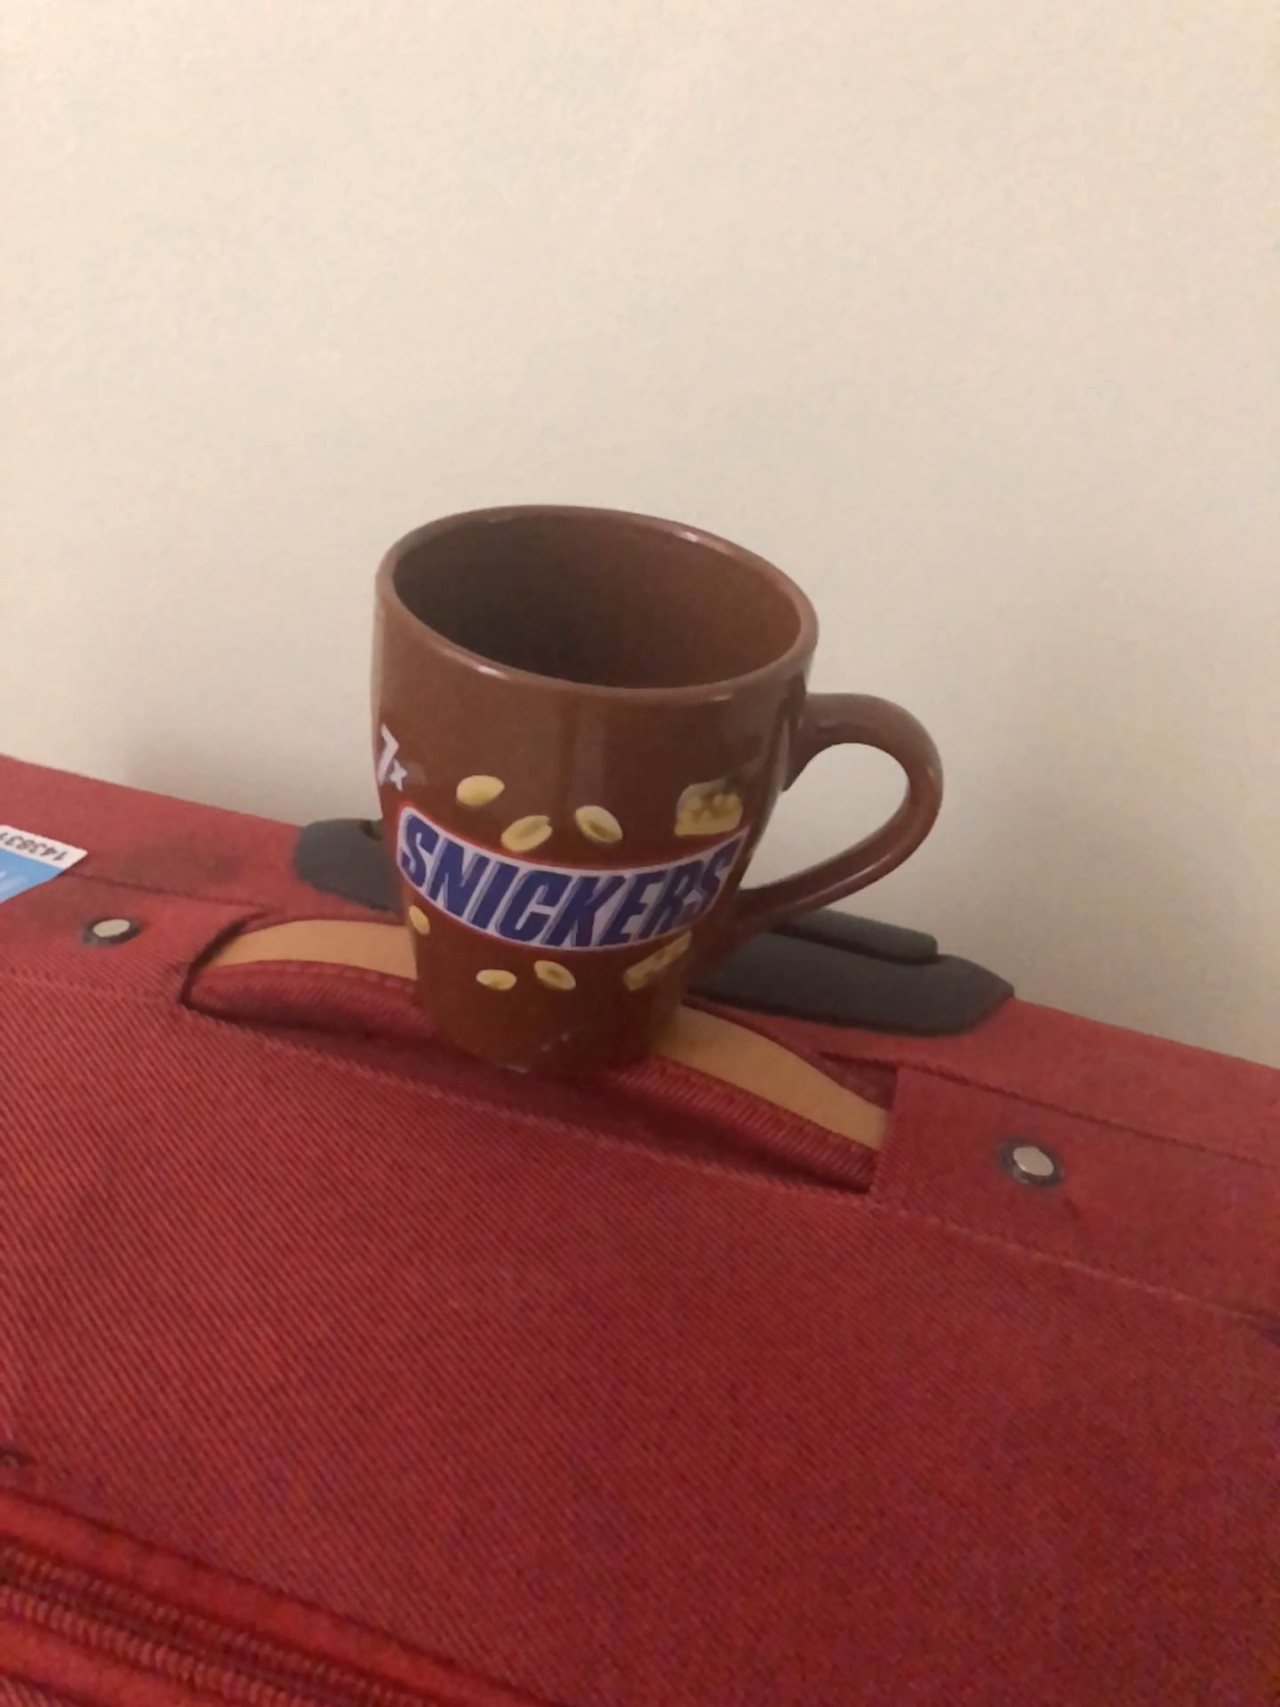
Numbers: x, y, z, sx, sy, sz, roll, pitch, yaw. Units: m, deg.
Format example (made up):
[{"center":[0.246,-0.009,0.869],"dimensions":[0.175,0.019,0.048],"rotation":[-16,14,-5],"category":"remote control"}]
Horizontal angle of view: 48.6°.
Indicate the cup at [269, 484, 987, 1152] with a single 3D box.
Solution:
[{"center":[0.002,-0.012,0.279],"dimensions":[0.115,0.080,0.088],"rotation":[10,33,7],"category":"cup"}]
